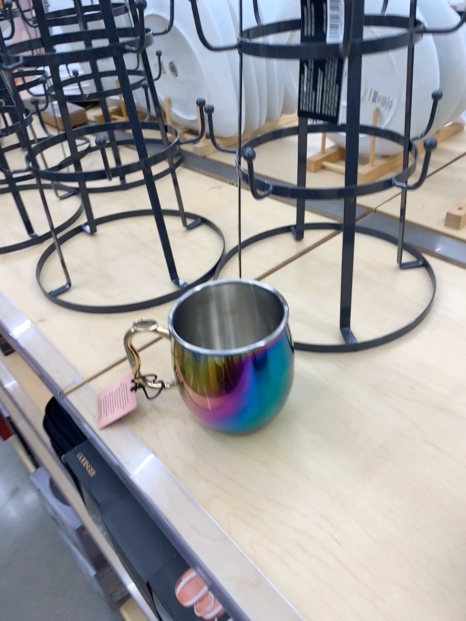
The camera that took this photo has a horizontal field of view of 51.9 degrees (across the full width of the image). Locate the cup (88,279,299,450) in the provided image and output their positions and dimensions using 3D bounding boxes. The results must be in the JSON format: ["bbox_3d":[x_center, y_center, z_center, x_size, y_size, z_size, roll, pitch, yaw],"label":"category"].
[{"bbox_3d":[-0.019,0.038,0.358,0.130,0.089,0.085,0,39,10],"label":"cup"}]
